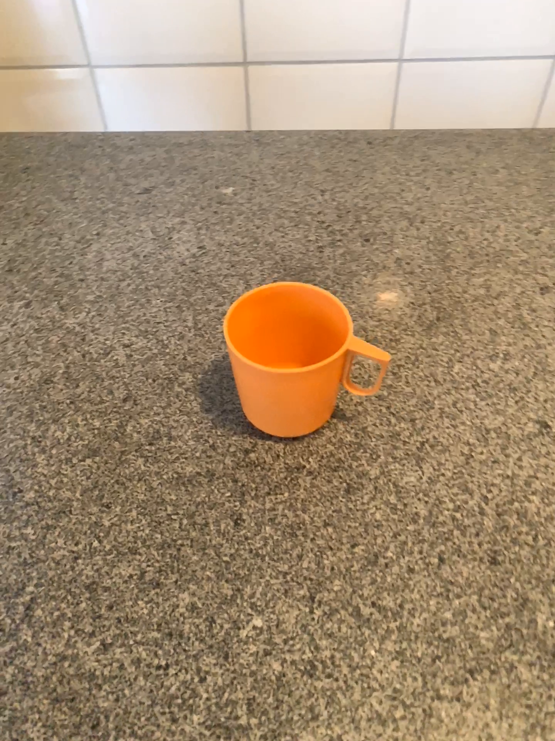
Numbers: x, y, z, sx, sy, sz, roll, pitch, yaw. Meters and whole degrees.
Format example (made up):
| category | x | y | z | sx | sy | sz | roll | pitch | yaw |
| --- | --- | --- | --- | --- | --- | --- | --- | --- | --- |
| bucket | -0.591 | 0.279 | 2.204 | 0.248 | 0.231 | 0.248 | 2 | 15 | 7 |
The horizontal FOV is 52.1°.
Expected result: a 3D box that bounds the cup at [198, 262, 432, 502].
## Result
| category | x | y | z | sx | sy | sz | roll | pitch | yaw |
| --- | --- | --- | --- | --- | --- | --- | --- | --- | --- |
| cup | 0.023 | 0.005 | 0.359 | 0.110 | 0.090 | 0.080 | 22 | 52 | 19 |
